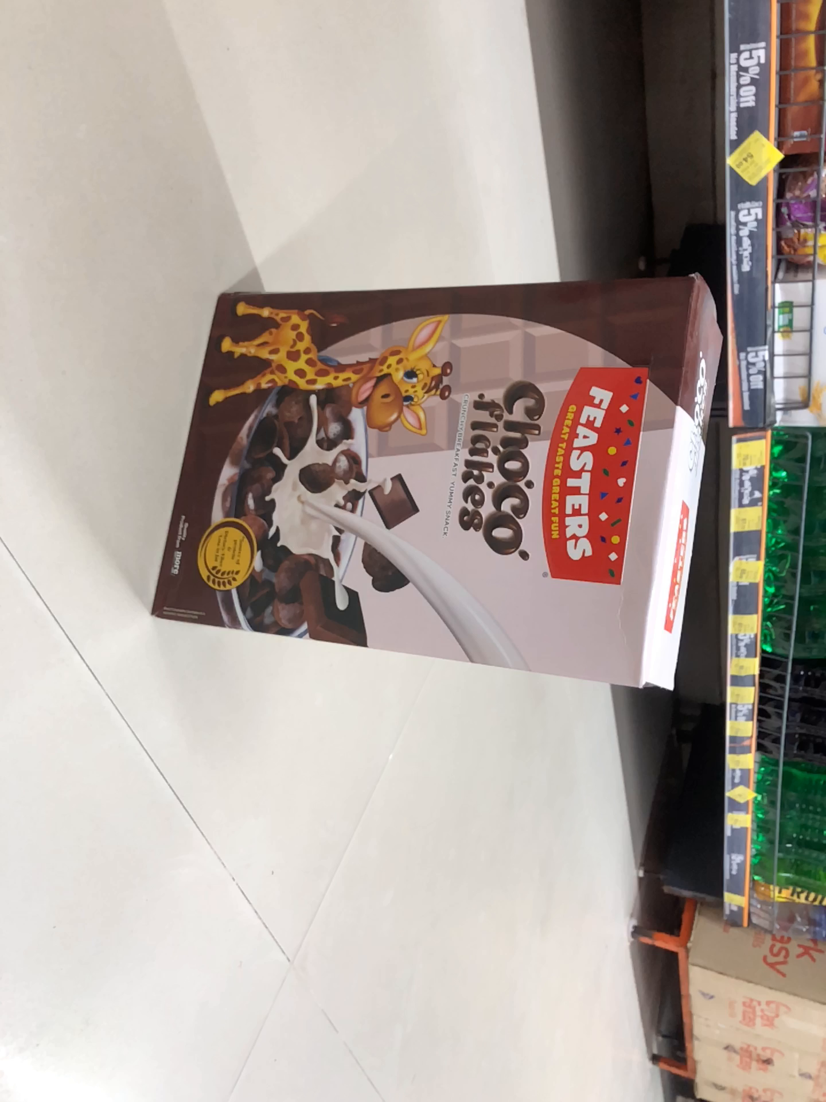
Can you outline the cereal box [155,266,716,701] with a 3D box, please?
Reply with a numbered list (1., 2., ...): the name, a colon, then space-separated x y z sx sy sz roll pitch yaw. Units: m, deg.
1. cereal box: 0.008 -0.038 0.470 0.060 0.258 0.190 27 70 -65
